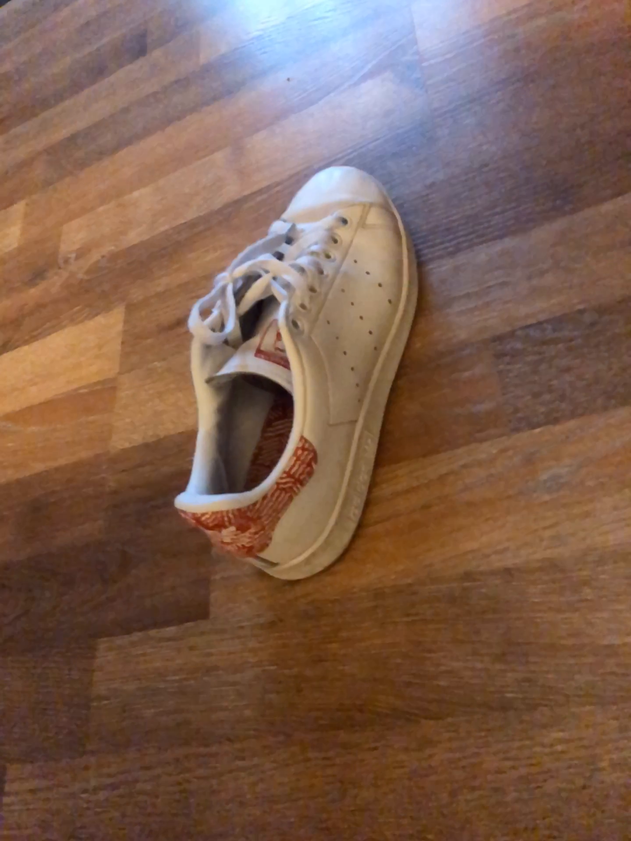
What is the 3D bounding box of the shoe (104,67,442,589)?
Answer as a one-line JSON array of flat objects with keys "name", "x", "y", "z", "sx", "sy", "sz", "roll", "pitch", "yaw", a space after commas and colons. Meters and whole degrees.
[{"name": "shoe", "x": -0.007, "y": -0.049, "z": 0.386, "sx": 0.100, "sy": 0.110, "sz": 0.251, "roll": -3, "pitch": 64, "yaw": 28}]
